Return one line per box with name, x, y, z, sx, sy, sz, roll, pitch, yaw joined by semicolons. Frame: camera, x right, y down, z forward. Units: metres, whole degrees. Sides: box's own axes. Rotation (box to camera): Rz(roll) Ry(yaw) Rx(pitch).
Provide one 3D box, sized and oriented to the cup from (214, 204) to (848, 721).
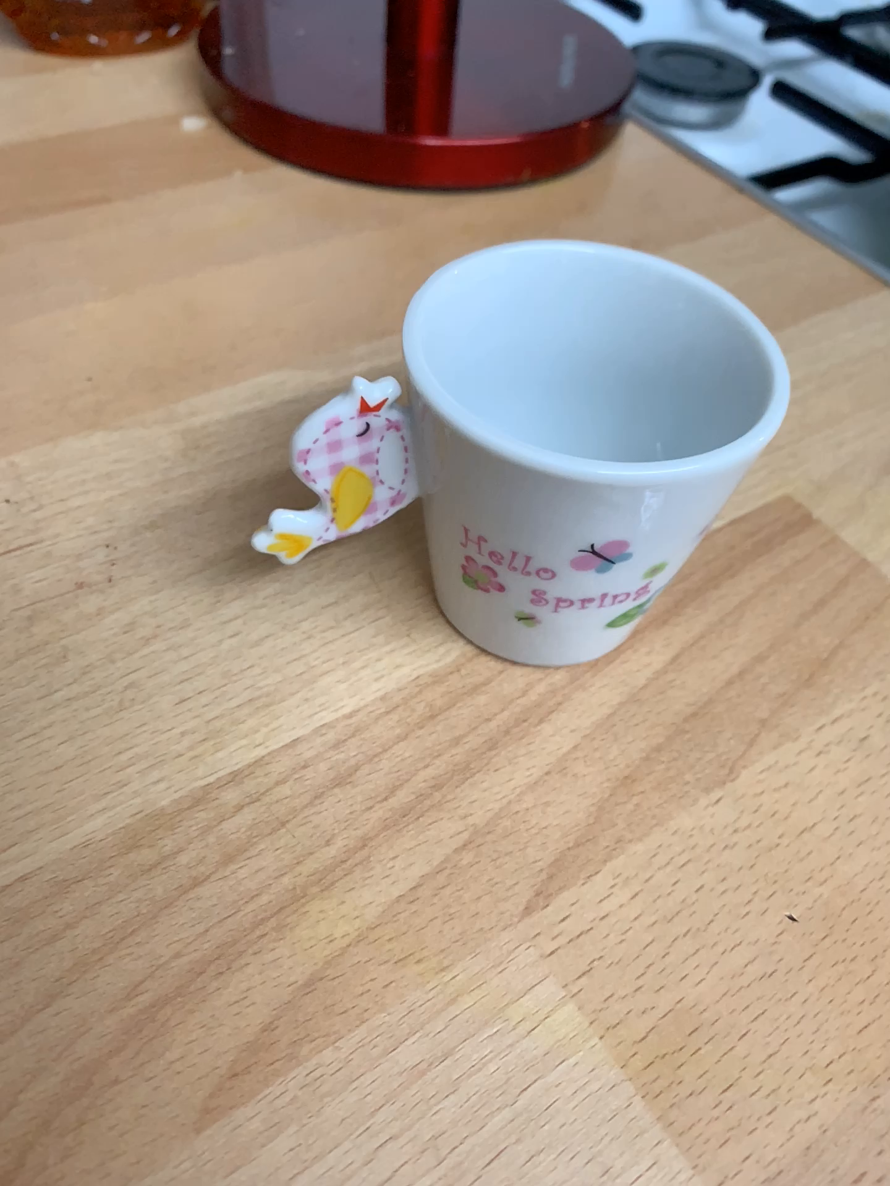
cup;0.008;-0.025;0.160;0.080;0.050;0.060;-10;52;-15
